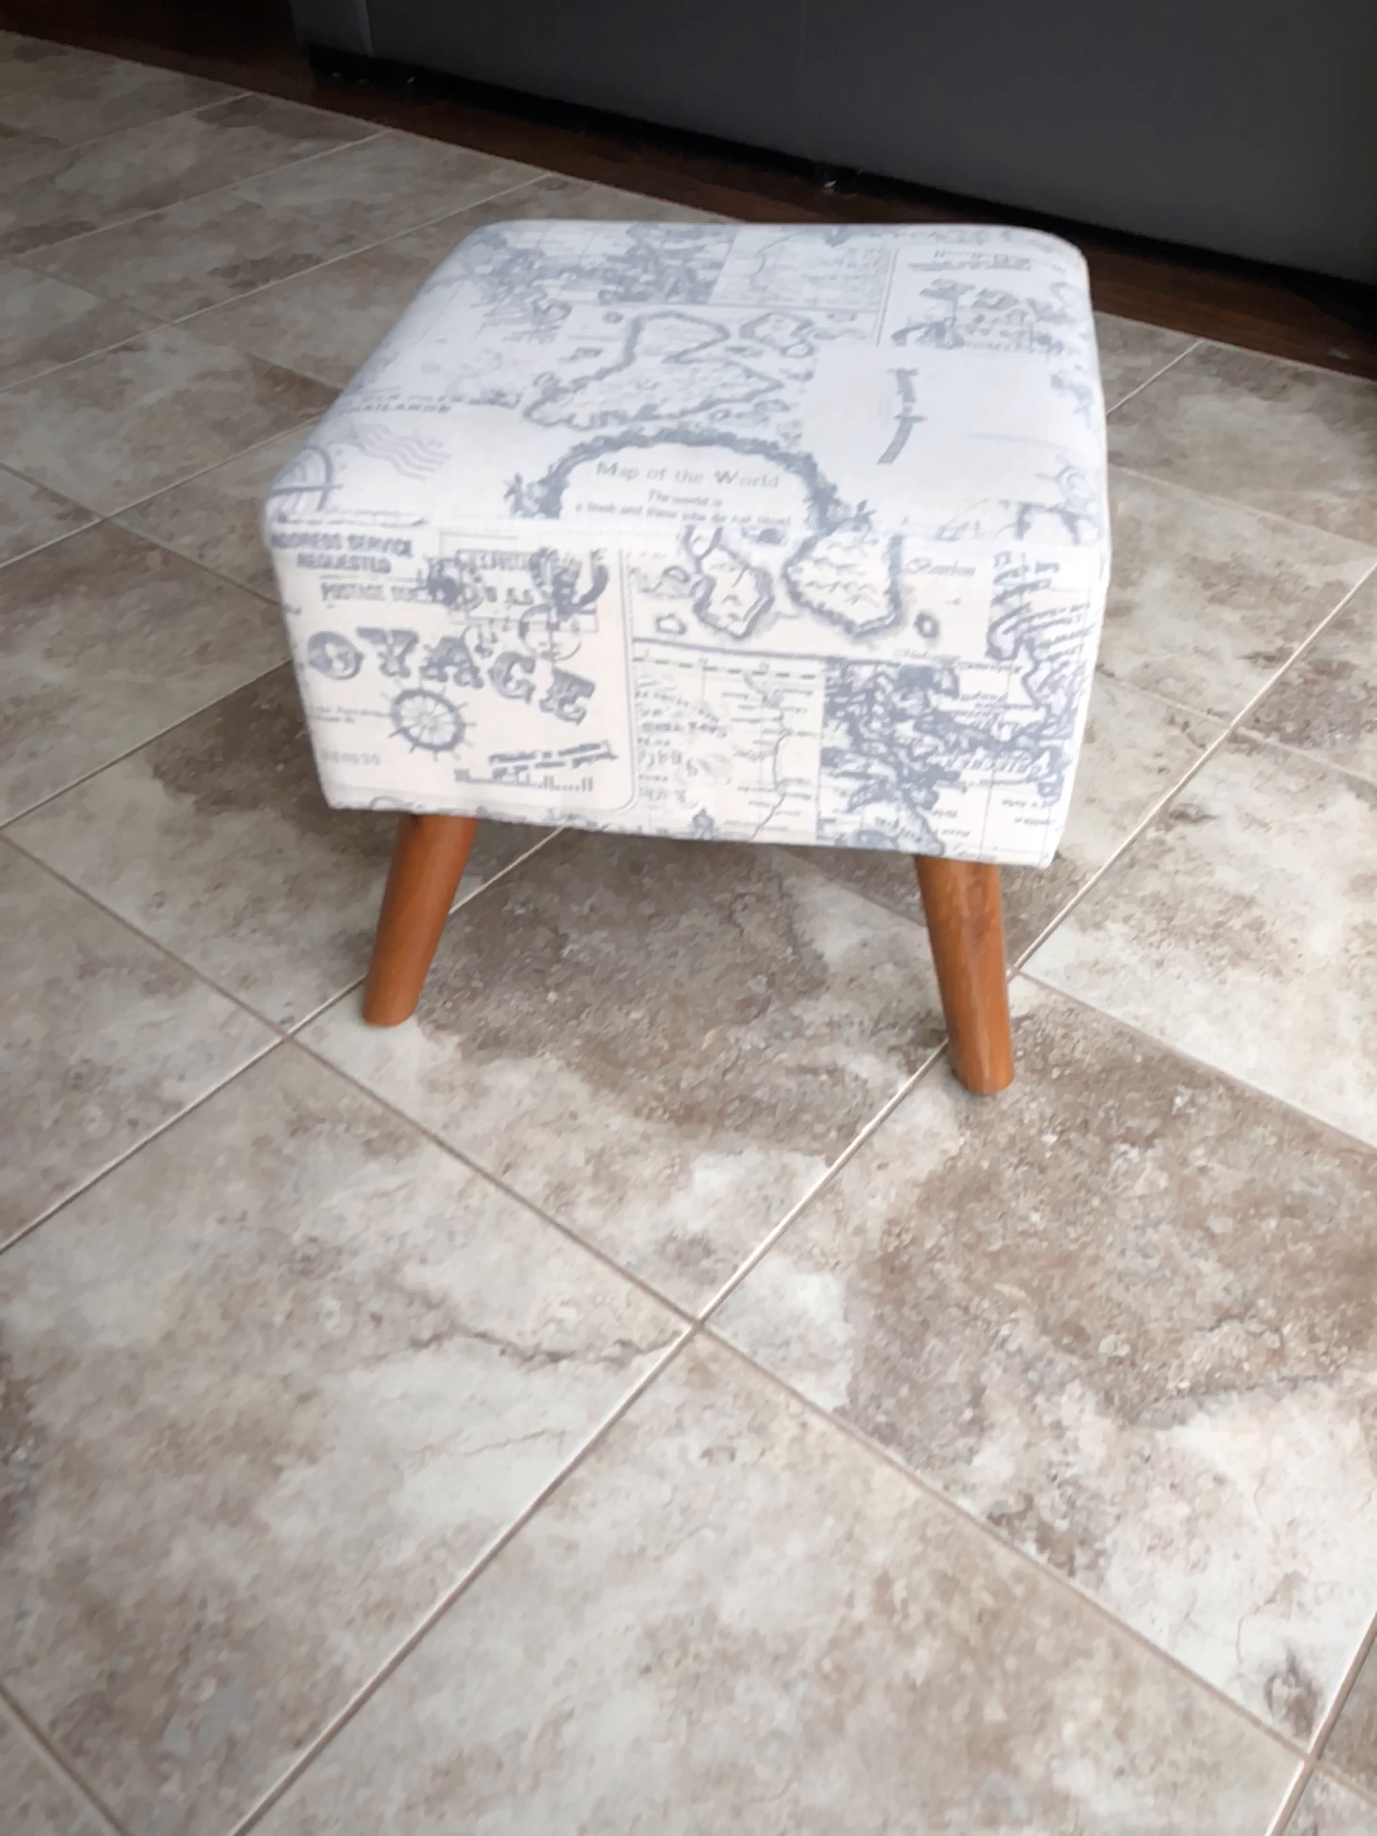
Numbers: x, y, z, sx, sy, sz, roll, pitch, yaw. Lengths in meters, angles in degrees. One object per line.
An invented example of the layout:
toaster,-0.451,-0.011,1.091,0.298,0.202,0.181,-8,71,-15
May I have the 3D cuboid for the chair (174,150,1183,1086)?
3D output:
chair,0.028,-0.207,0.899,0.420,0.319,0.472,6,43,8
